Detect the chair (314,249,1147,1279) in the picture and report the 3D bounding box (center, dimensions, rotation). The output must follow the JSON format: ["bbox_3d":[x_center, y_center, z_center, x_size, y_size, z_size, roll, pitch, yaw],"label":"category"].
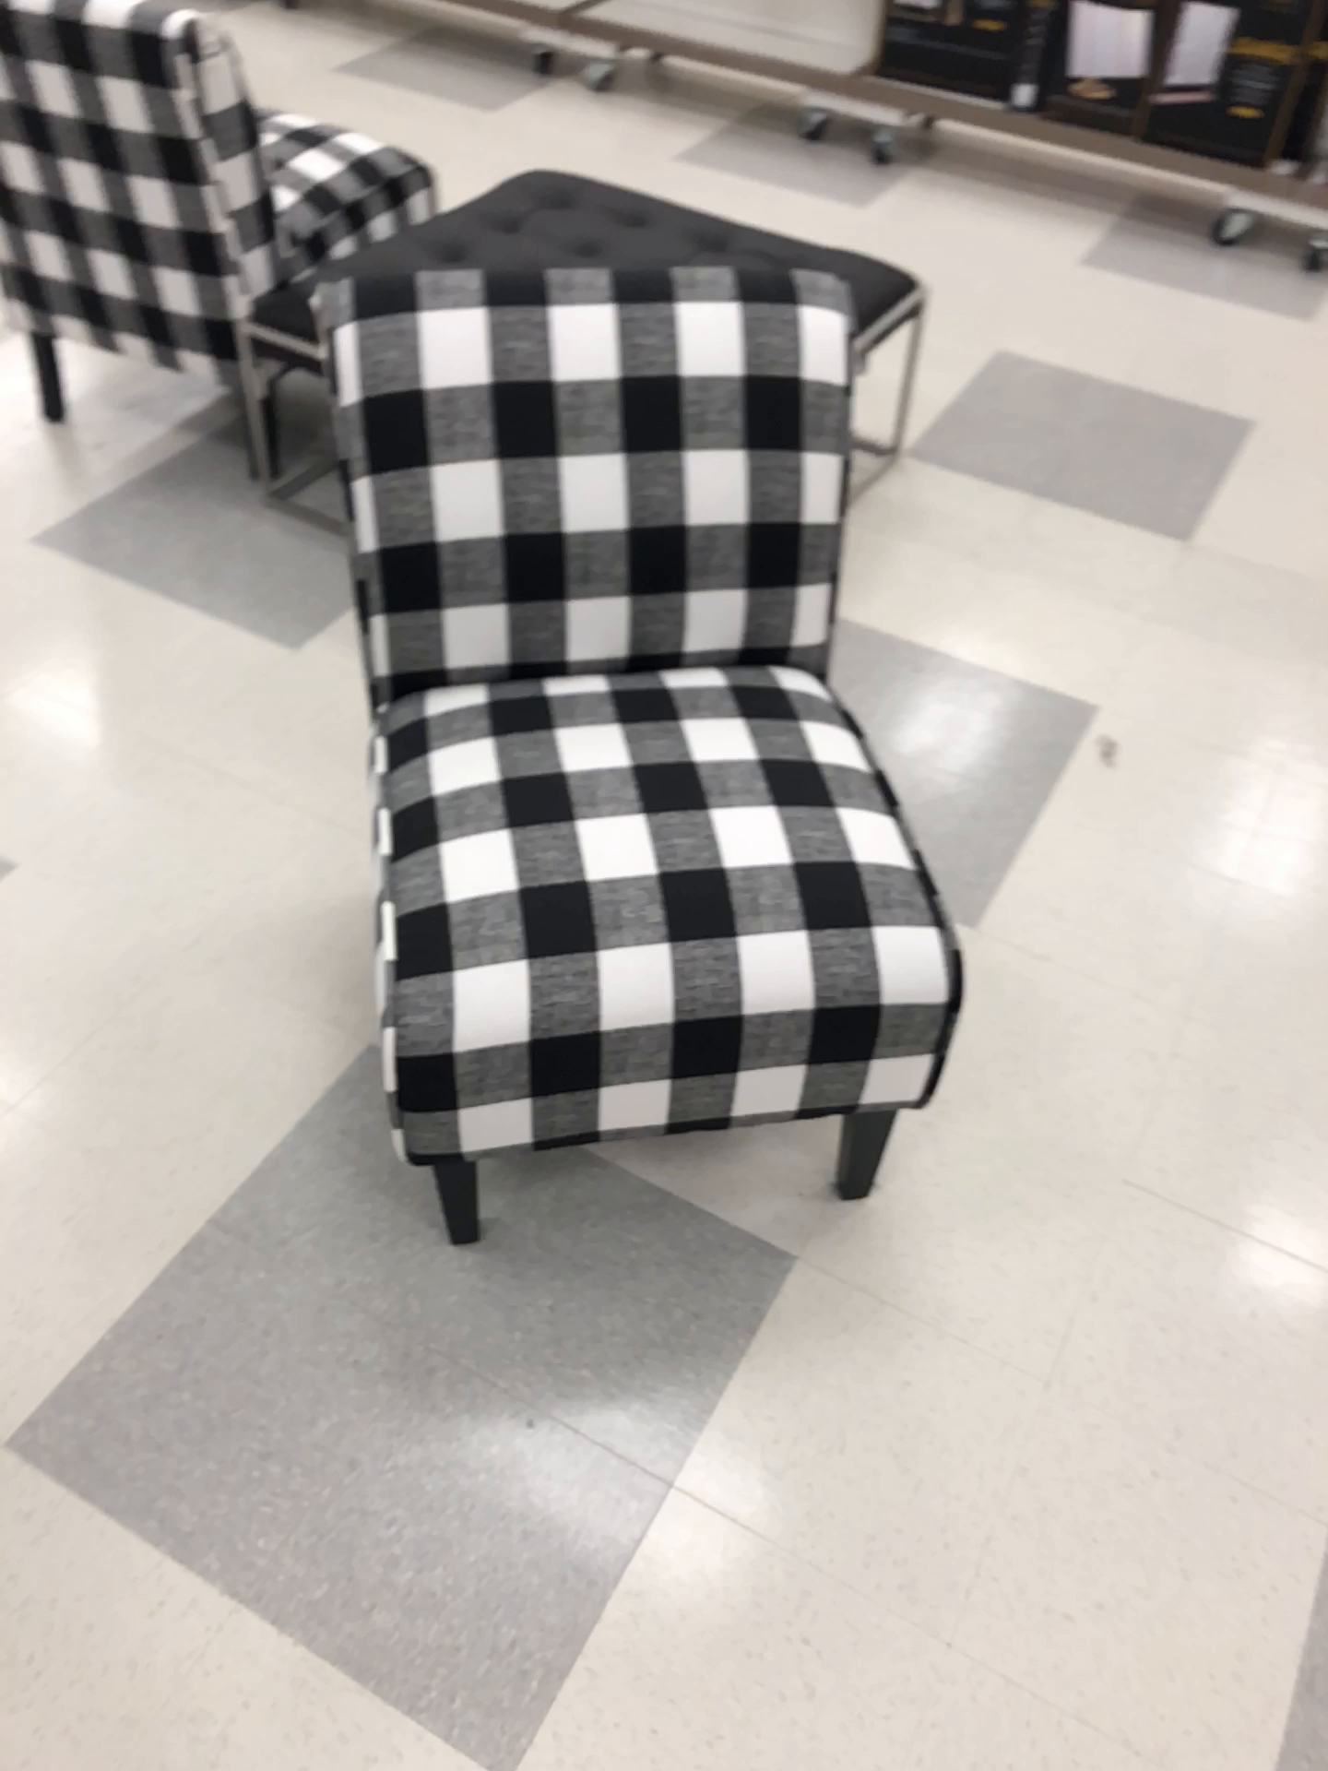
[{"bbox_3d":[-0.018,-0.134,1.611,0.624,0.832,0.703,-5,45,-9],"label":"chair"}]

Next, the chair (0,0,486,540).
[{"bbox_3d":[-0.805,-1.258,2.688,0.625,0.832,0.733,23,48,18],"label":"chair"}]
